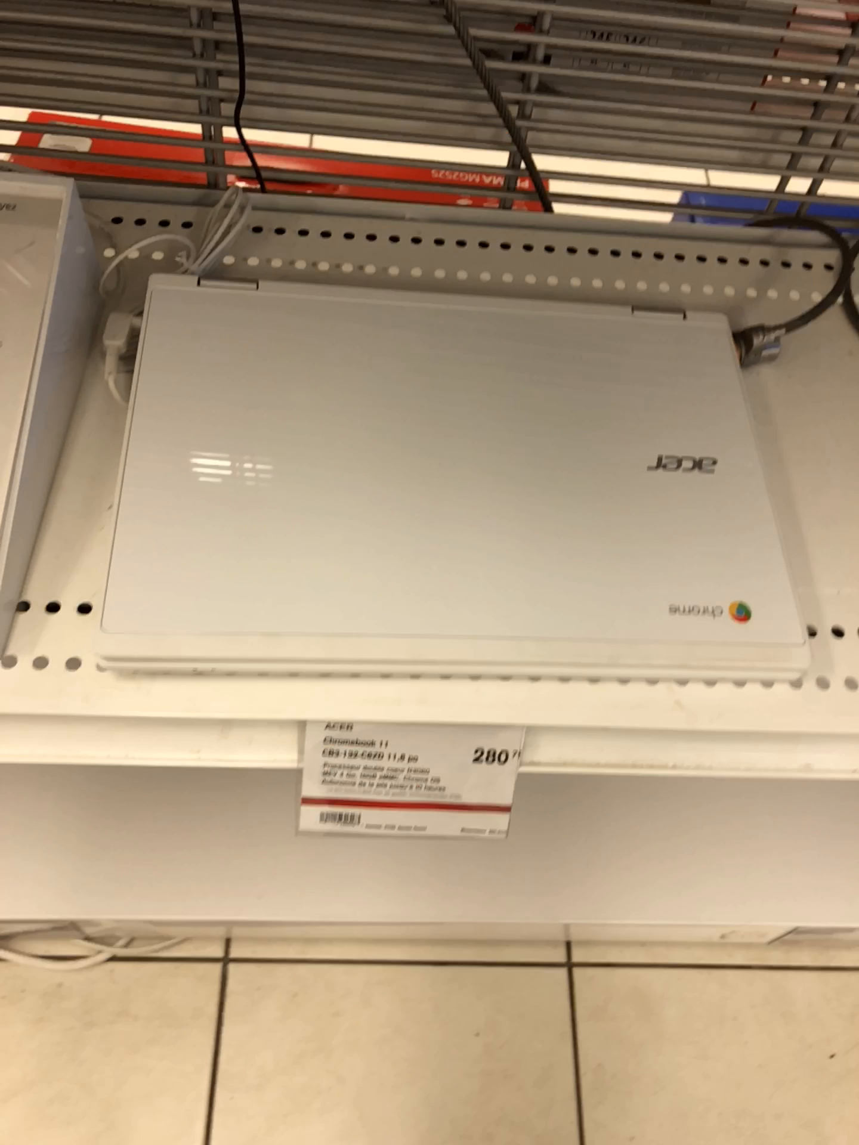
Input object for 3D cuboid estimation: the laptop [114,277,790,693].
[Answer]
[{"bbox_3d":[0.010,-0.043,0.444,0.286,0.024,0.184,2,67,-6],"label":"laptop"}]
